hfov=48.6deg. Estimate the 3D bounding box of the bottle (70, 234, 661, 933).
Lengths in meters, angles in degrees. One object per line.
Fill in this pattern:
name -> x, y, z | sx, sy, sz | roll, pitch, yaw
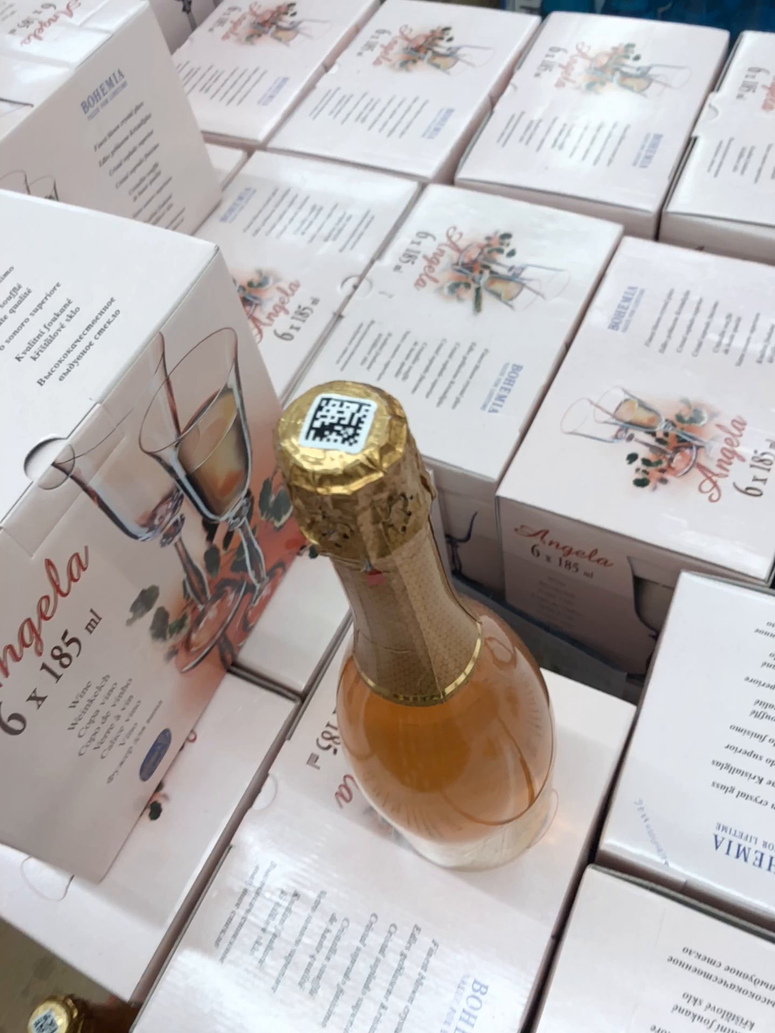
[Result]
bottle -> 0.015, 0.061, 0.316 | 0.090, 0.299, 0.100 | 32, 68, 25
